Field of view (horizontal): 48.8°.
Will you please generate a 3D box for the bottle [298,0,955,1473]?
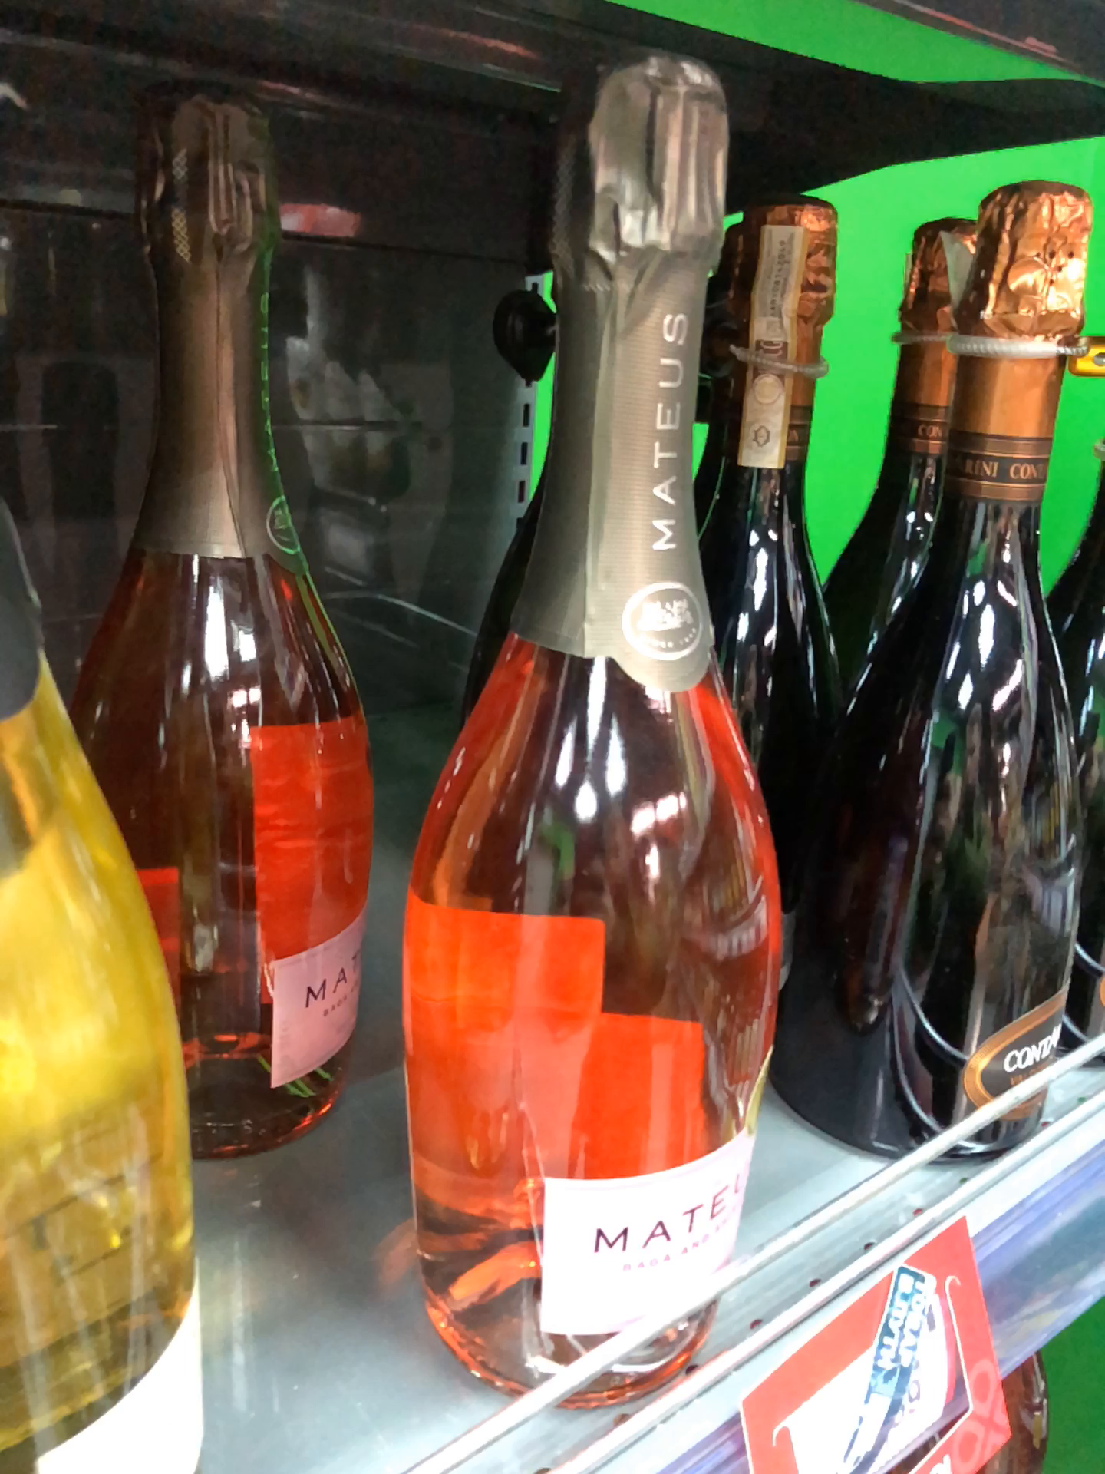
[{"bbox_3d":[0.005,0.010,0.296,0.100,0.319,0.090,-10,22,-39],"label":"bottle"}]
